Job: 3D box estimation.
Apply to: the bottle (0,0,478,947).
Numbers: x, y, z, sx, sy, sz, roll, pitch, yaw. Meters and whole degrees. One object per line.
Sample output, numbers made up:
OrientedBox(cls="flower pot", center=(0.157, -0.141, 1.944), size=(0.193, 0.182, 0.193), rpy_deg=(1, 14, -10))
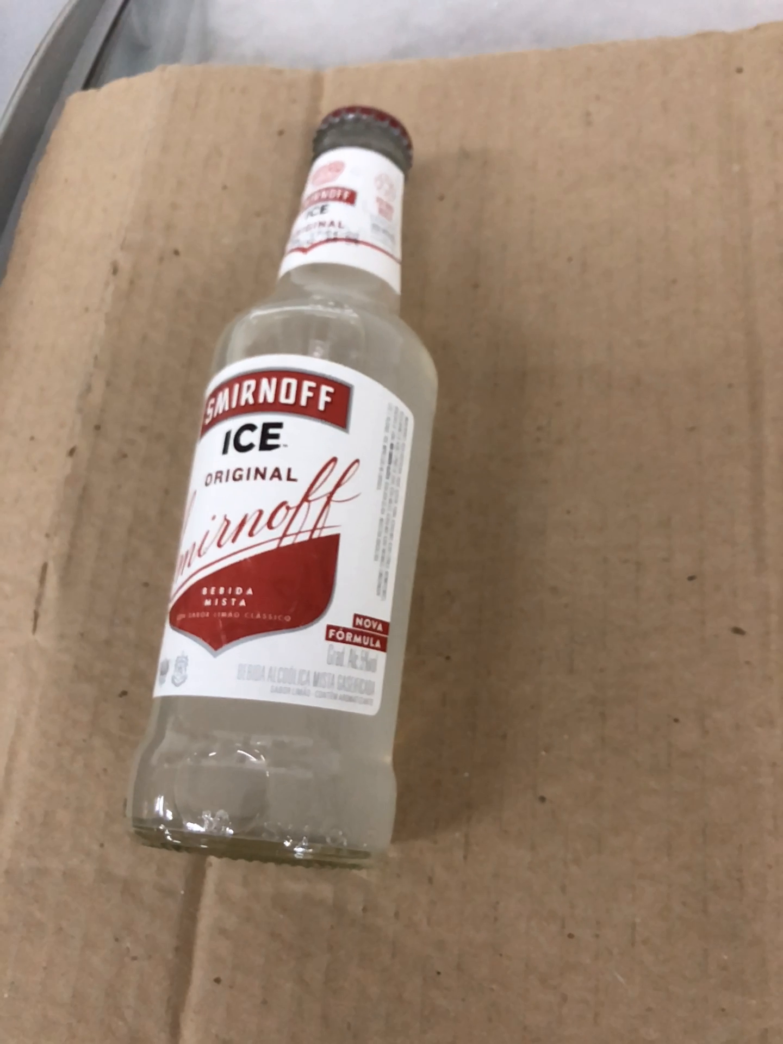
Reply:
OrientedBox(cls="bottle", center=(-0.024, -0.023, 0.210), size=(0.070, 0.050, 0.210), rpy_deg=(2, 73, 12))
